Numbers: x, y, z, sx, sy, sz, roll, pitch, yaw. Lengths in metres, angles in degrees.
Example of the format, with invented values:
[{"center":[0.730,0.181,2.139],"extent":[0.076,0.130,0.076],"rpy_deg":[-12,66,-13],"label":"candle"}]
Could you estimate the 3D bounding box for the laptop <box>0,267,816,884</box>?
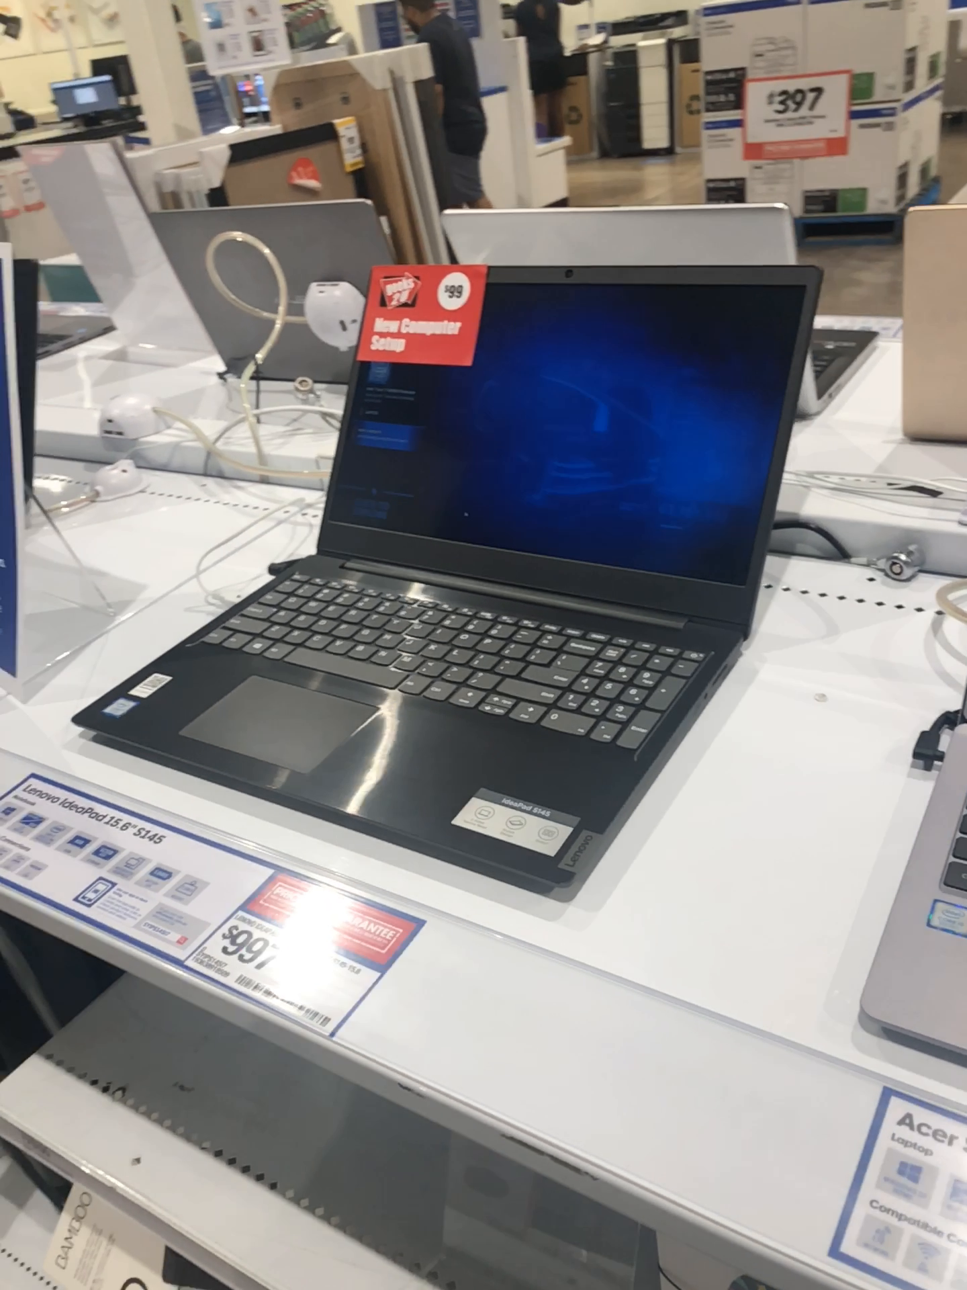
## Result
[{"center":[-0.027,-0.093,0.672],"extent":[0.353,0.192,0.374],"rpy_deg":[12,36,30],"label":"laptop"}]
